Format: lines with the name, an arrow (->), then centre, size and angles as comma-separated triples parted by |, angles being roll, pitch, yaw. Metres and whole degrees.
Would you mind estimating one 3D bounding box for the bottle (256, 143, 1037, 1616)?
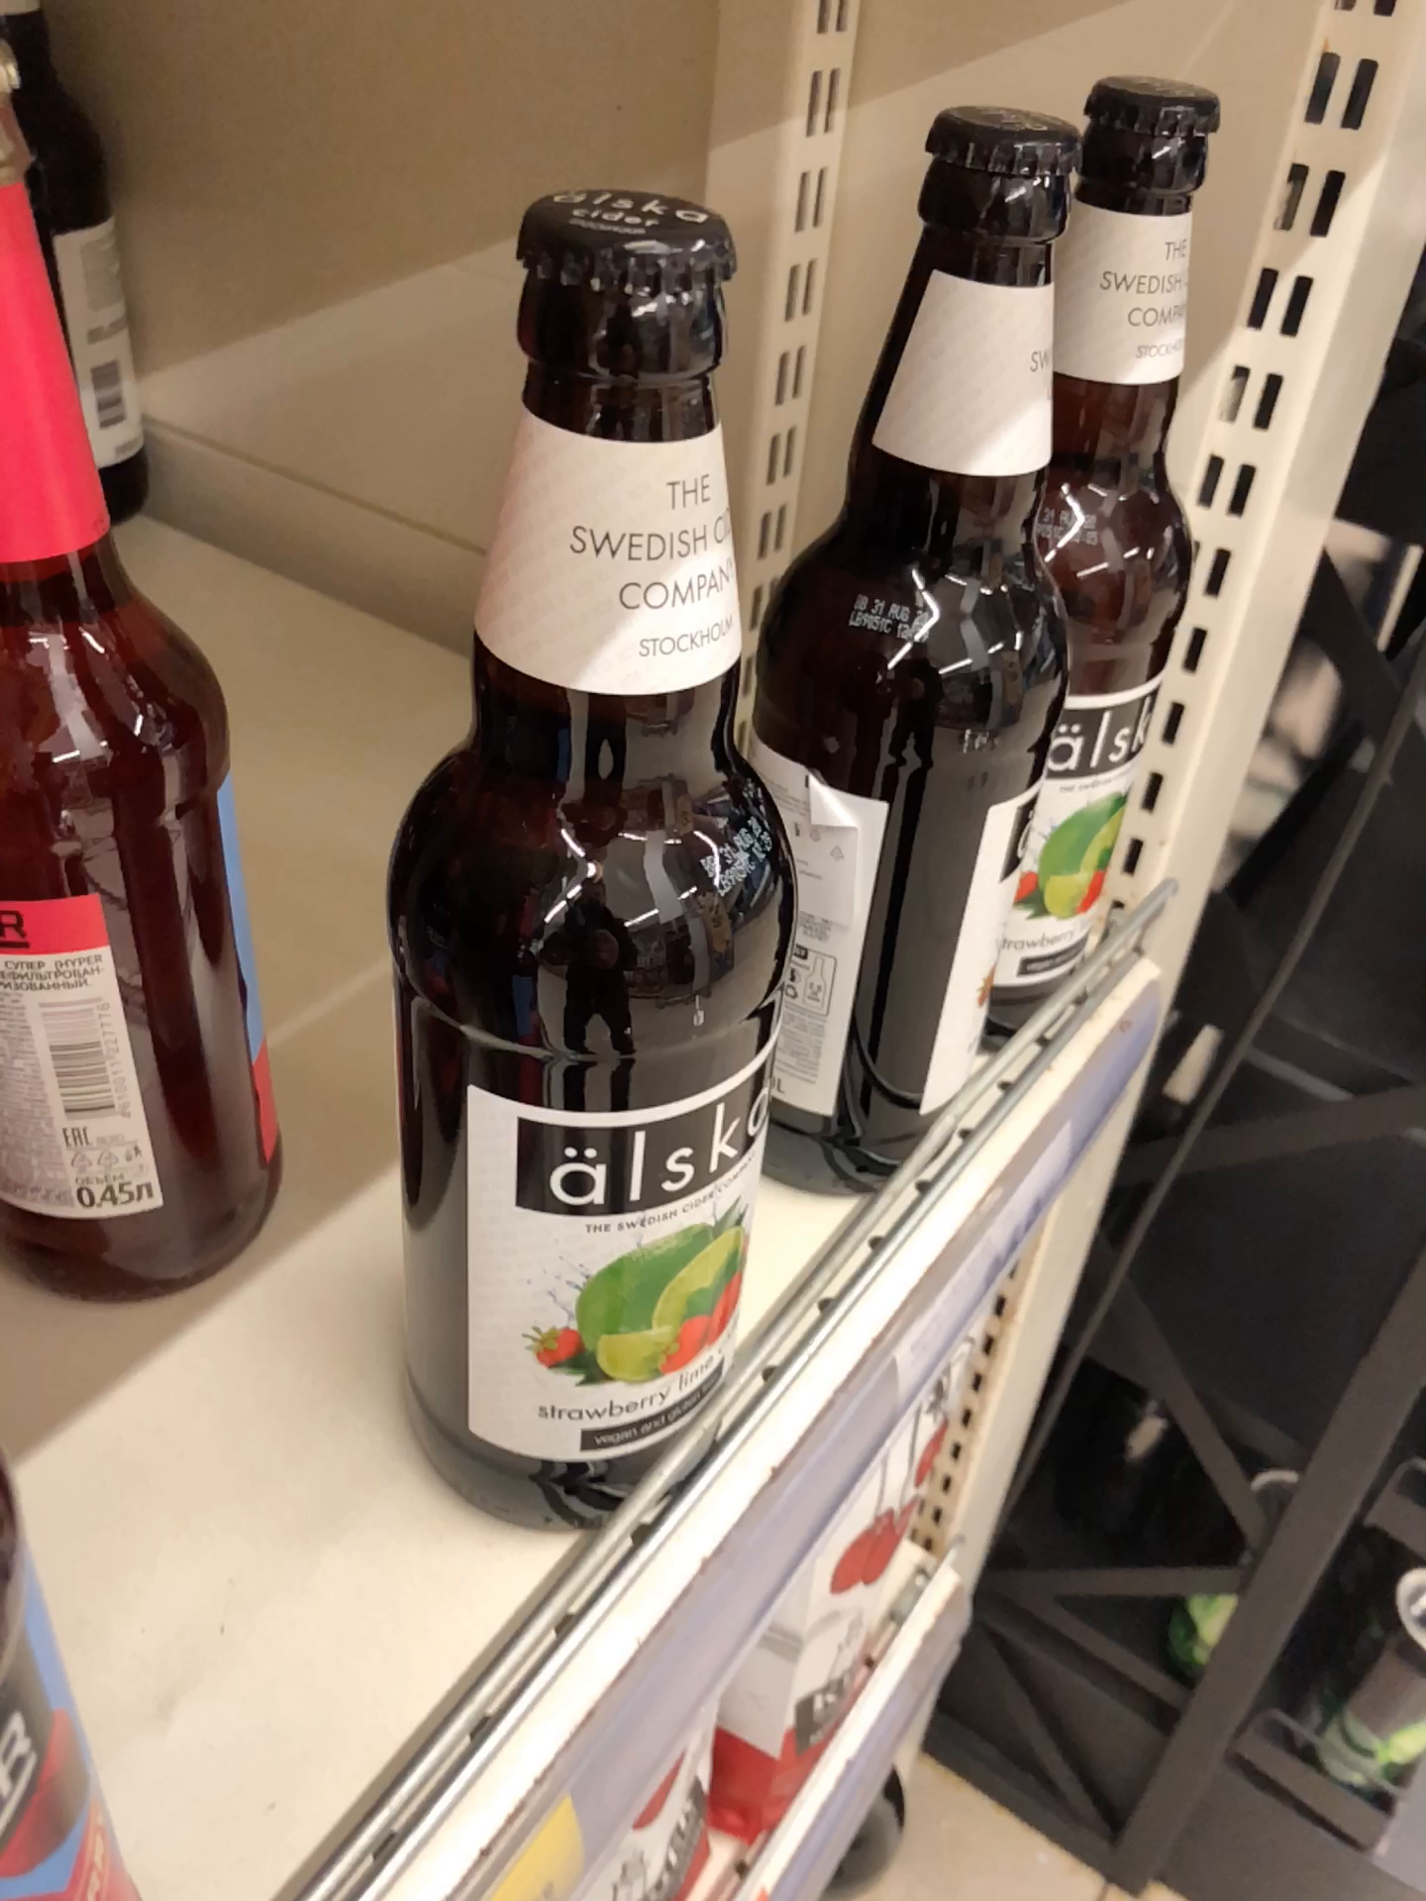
bottle -> -0.019, 0.003, 0.269 | 0.070, 0.239, 0.070 | 4, 37, -3
